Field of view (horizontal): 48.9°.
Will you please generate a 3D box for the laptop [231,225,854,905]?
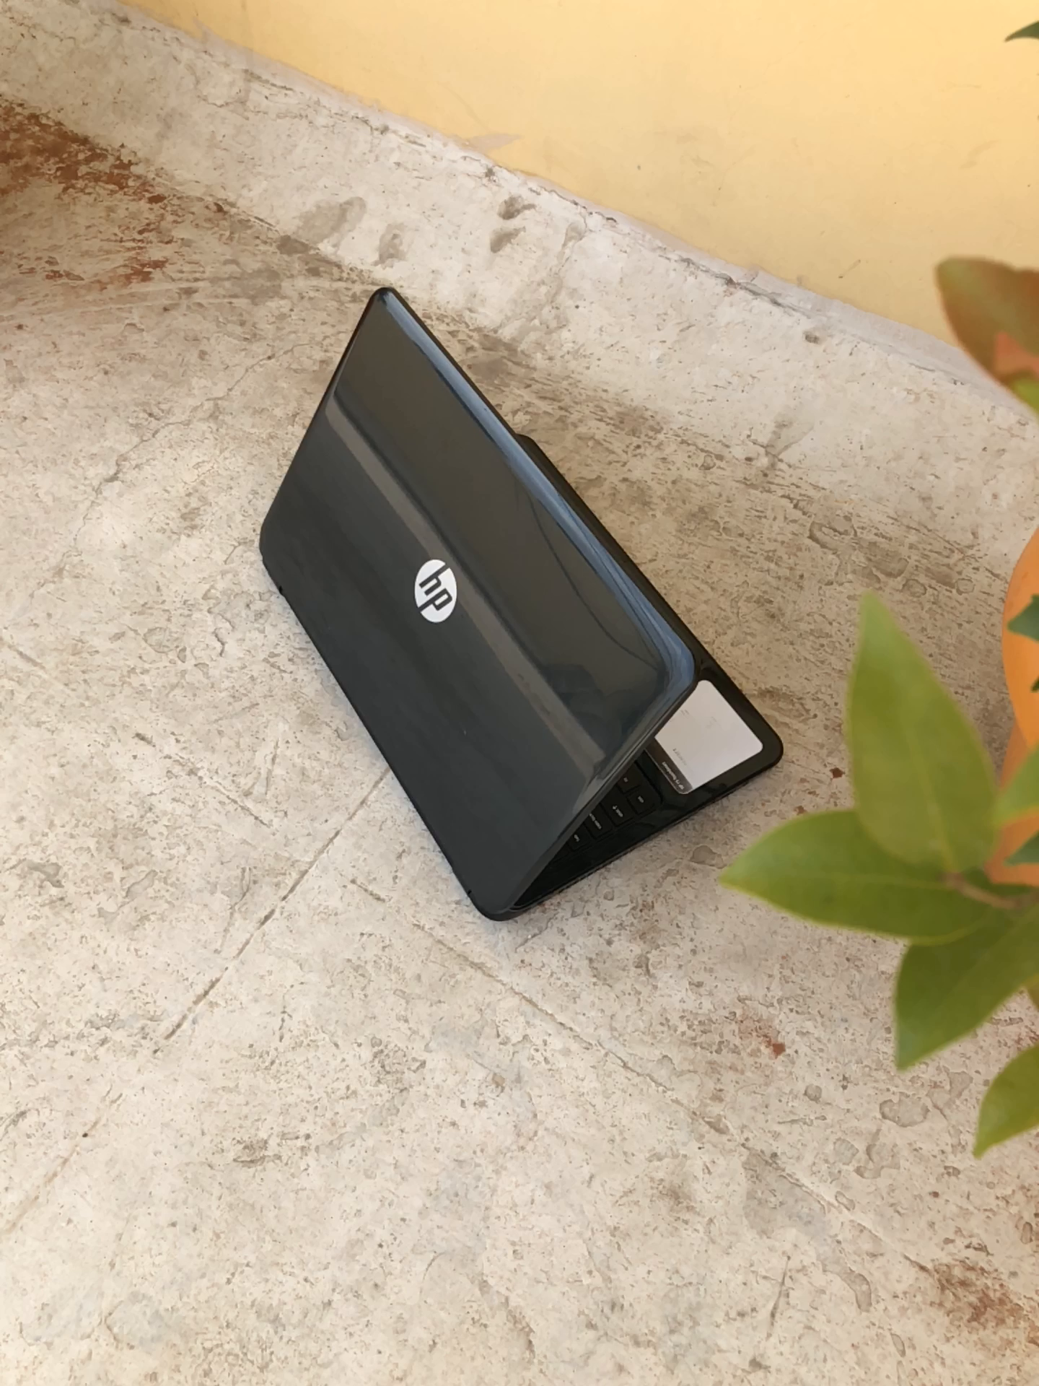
[{"bbox_3d":[-0.004,-0.091,0.765,0.221,0.189,0.345,-28,63,-14],"label":"laptop"}]
